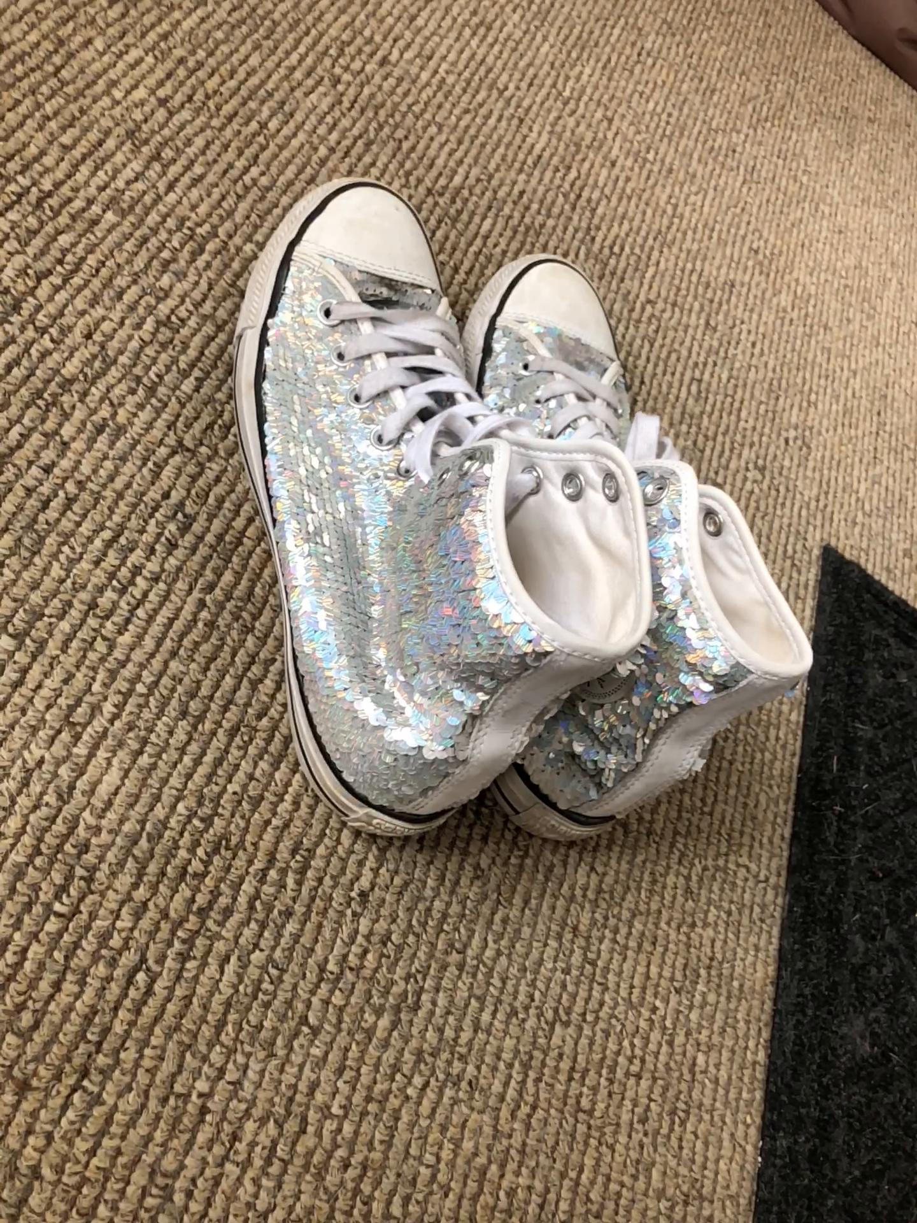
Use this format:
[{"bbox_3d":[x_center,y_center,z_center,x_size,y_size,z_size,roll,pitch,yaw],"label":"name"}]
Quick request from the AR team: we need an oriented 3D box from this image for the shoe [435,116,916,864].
[{"bbox_3d":[0.078,-0.043,0.425,0.112,0.127,0.264,12,61,-32],"label":"shoe"}]

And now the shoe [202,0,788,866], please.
[{"bbox_3d":[-0.004,-0.057,0.381,0.112,0.137,0.264,3,66,-35],"label":"shoe"}]
